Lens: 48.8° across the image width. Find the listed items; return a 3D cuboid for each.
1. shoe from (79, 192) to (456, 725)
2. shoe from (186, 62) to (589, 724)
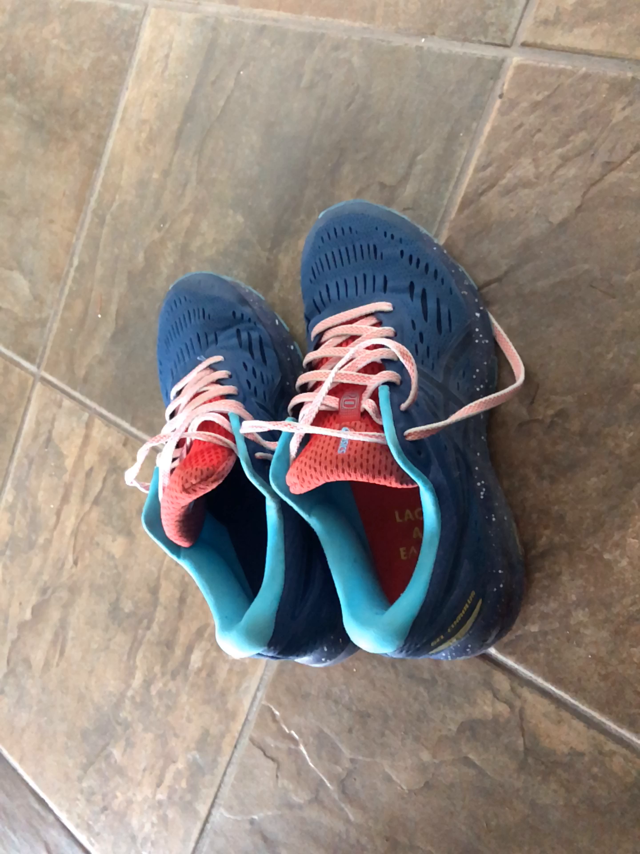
[{"bbox_3d":[-0.039,0.018,0.483,0.120,0.129,0.300,-28,73,28],"label":"shoe"},{"bbox_3d":[0.037,-0.012,0.397,0.120,0.129,0.300,-17,78,31],"label":"shoe"}]
